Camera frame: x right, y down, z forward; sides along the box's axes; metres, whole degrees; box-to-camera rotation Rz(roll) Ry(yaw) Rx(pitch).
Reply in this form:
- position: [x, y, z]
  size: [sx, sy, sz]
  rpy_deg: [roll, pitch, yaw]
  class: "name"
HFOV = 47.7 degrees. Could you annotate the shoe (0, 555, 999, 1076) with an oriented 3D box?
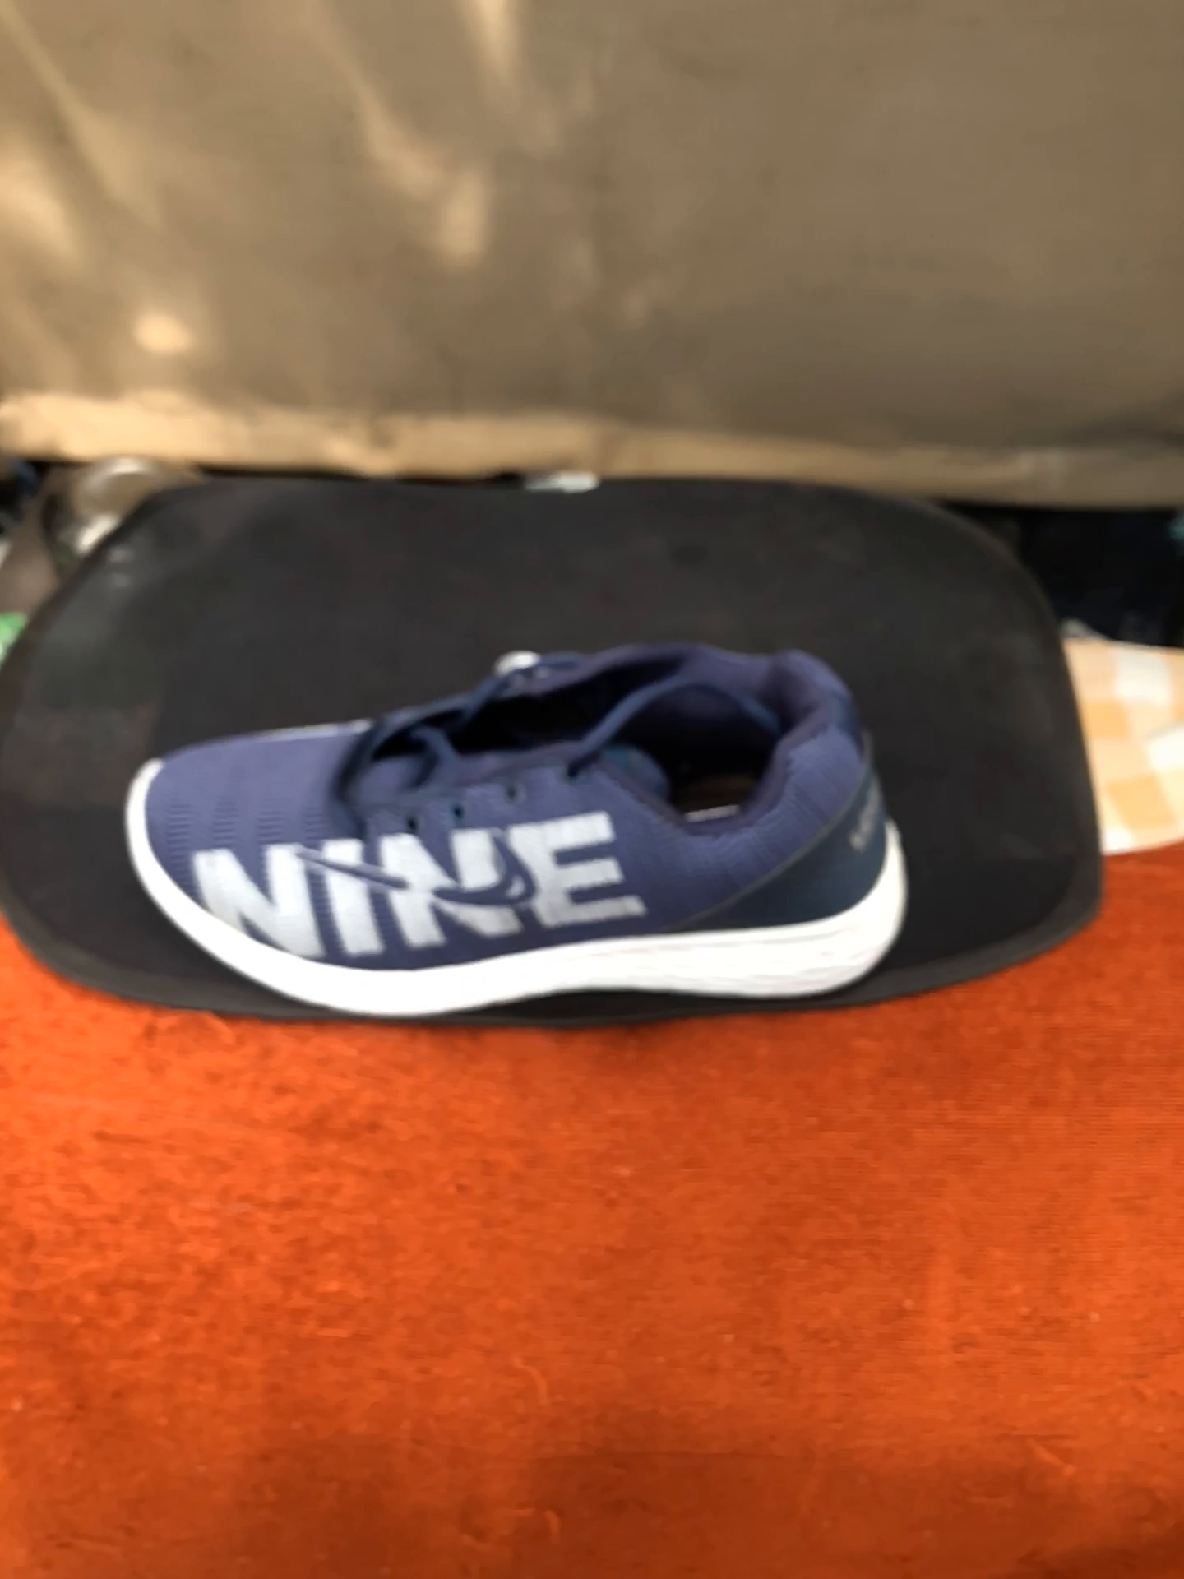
- position: [-0.027, 0.004, 0.451]
  size: [0.290, 0.100, 0.131]
  rpy_deg: [2, 47, 5]
  class: "shoe"
